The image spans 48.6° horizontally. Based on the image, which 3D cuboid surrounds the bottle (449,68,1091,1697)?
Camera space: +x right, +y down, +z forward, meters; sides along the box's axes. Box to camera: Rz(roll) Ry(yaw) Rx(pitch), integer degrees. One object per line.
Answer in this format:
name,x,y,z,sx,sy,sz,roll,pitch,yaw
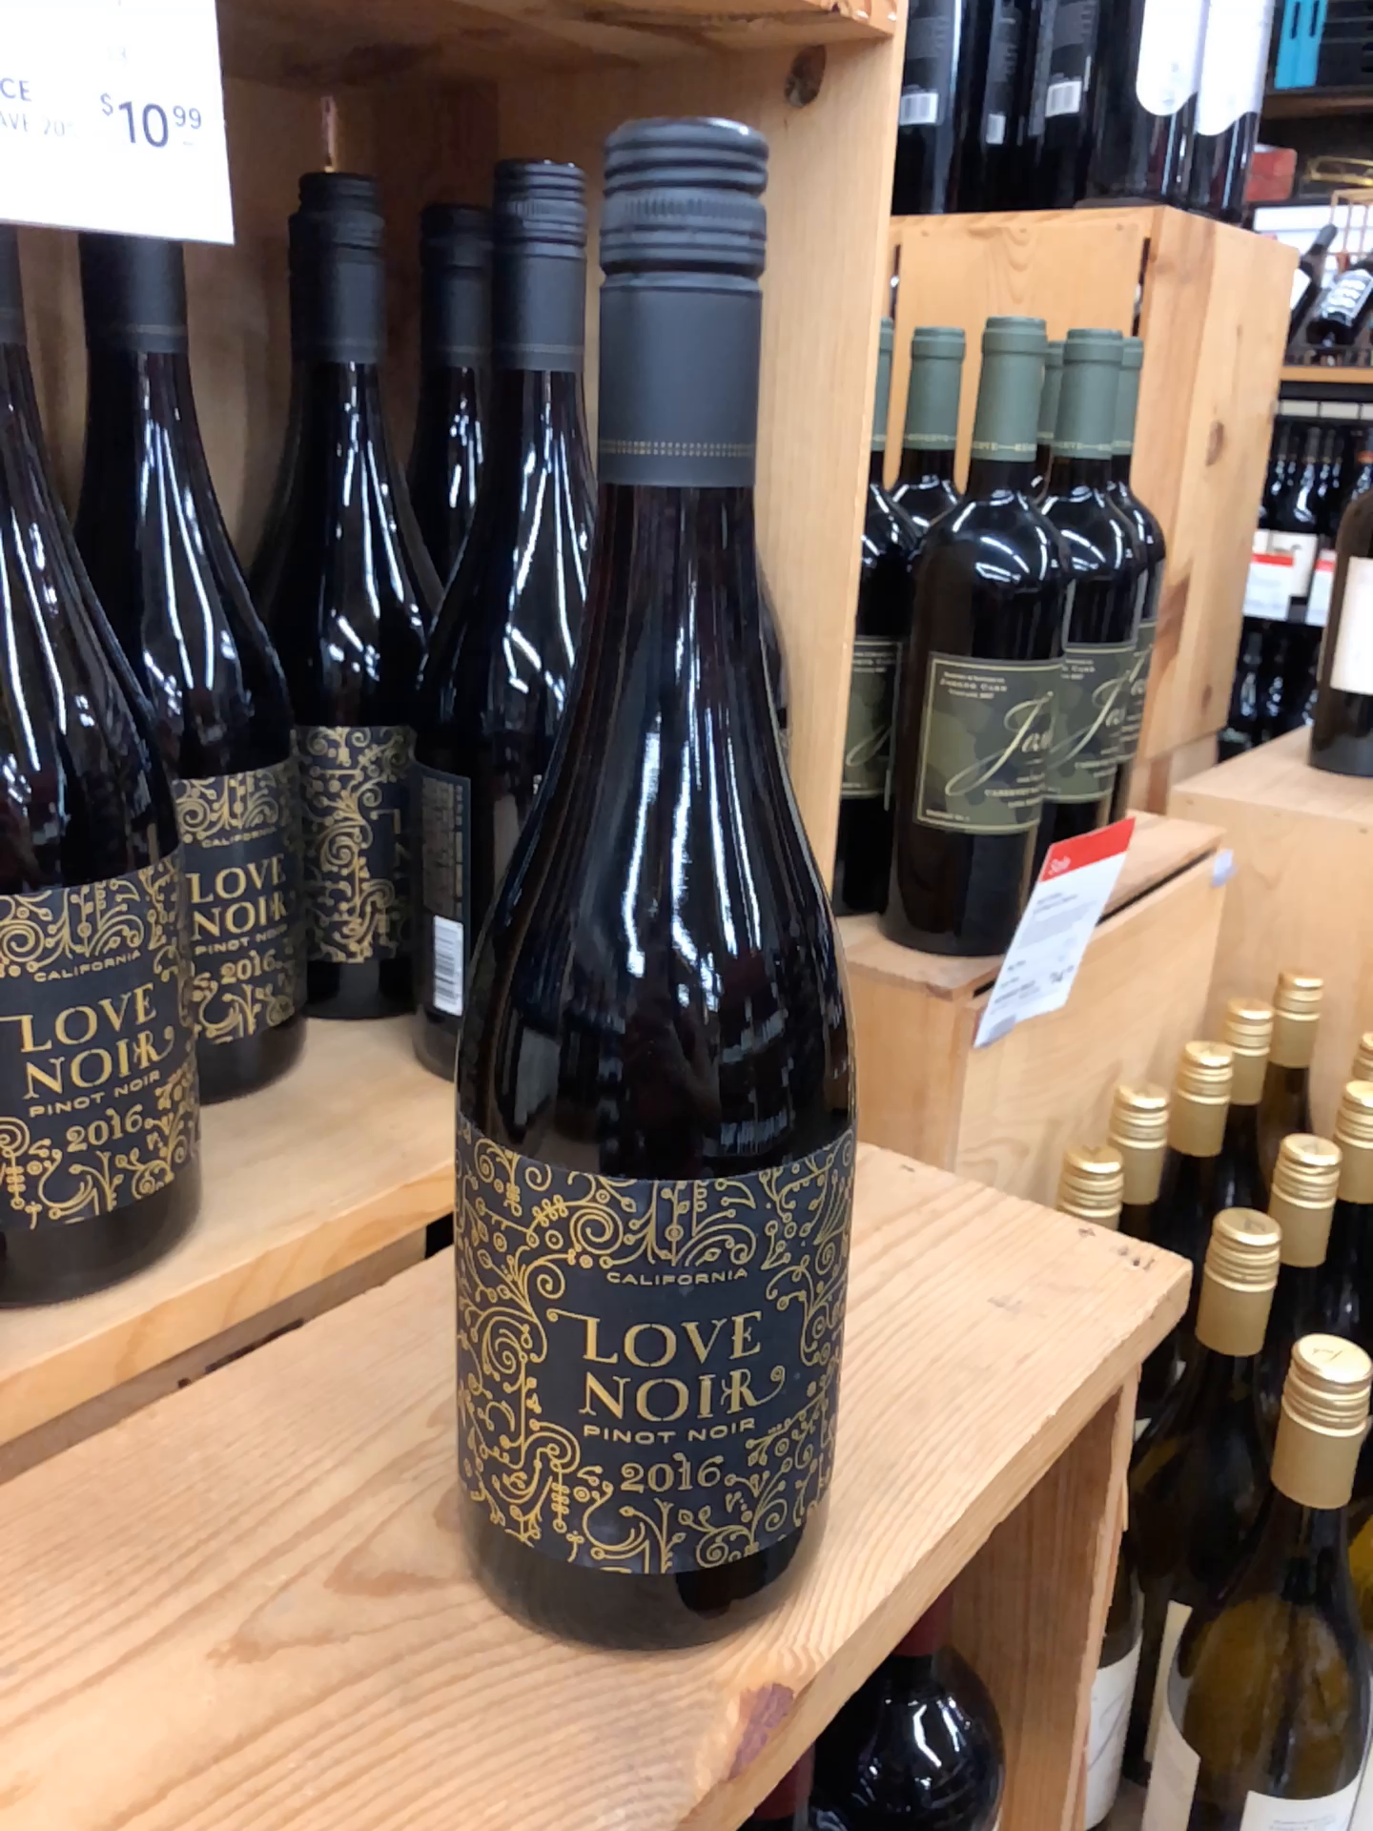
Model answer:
bottle,0.002,0.003,0.303,0.090,0.285,0.086,2,18,-1
